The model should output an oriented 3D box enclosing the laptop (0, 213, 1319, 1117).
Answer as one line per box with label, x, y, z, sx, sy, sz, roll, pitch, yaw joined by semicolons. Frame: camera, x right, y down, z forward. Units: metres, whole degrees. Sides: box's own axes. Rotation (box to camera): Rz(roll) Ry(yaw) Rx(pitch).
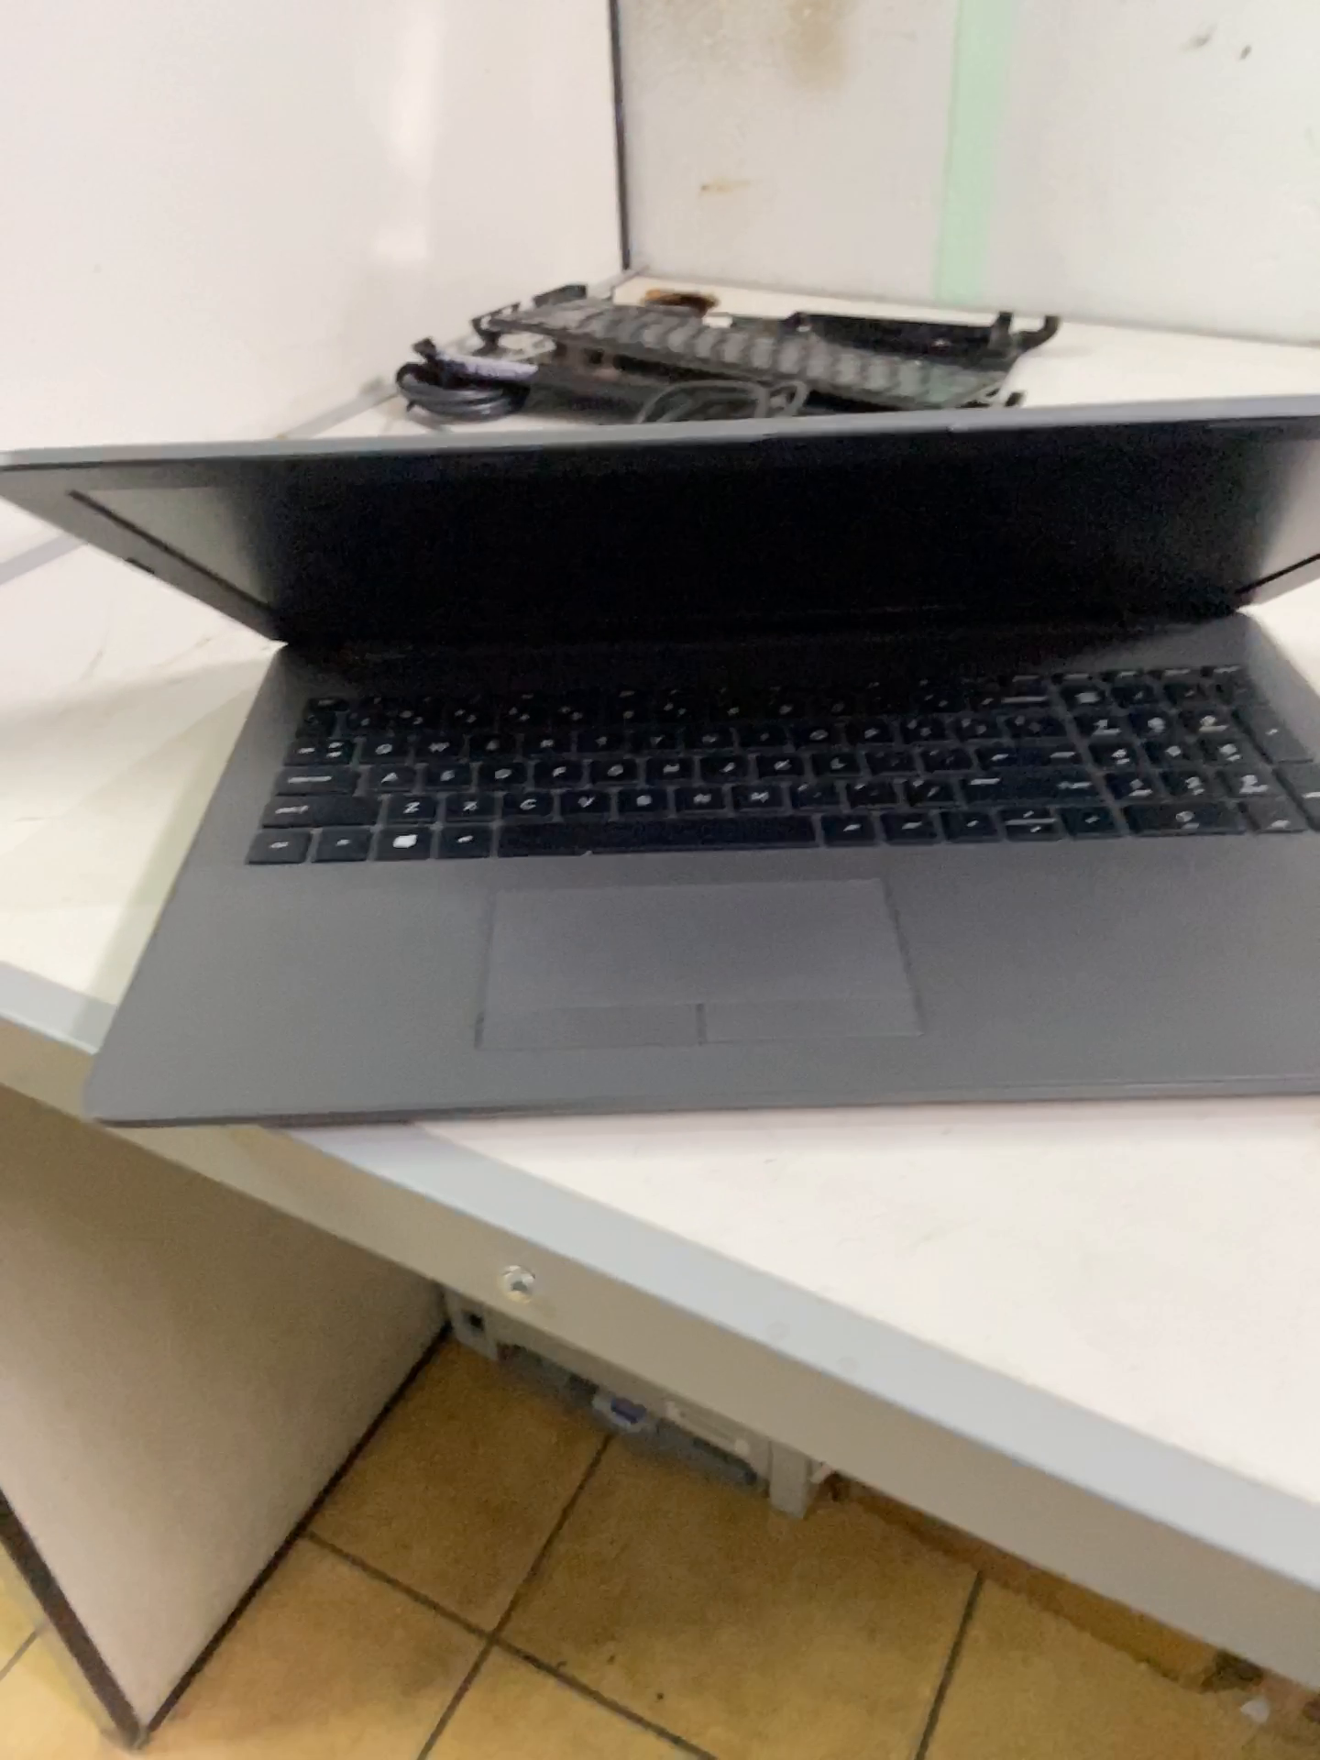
laptop;0.040;-0.081;0.391;0.379;0.141;0.249;-2;37;0
